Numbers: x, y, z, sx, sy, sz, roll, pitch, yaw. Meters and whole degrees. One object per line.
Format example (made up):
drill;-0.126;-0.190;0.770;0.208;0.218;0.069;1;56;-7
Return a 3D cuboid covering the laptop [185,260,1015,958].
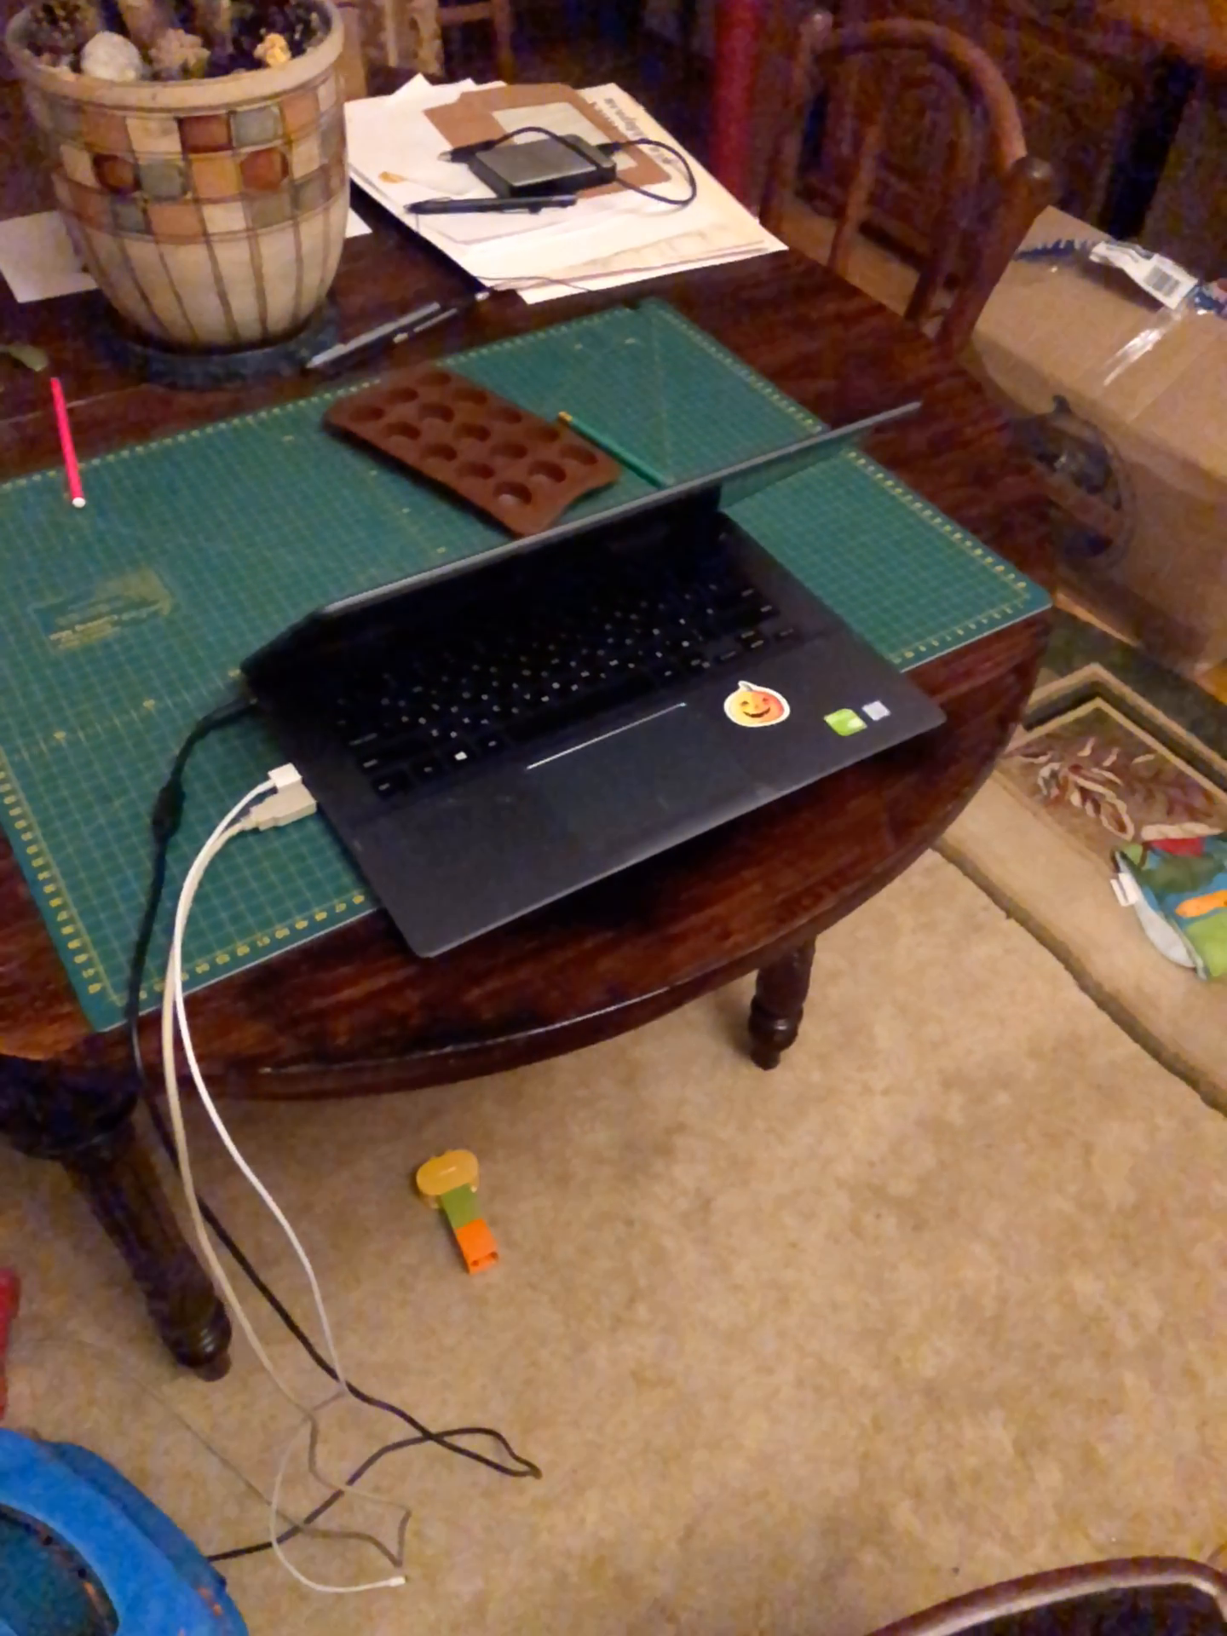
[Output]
laptop;-0.009;-0.123;0.687;0.318;0.162;0.224;-24;53;-22
